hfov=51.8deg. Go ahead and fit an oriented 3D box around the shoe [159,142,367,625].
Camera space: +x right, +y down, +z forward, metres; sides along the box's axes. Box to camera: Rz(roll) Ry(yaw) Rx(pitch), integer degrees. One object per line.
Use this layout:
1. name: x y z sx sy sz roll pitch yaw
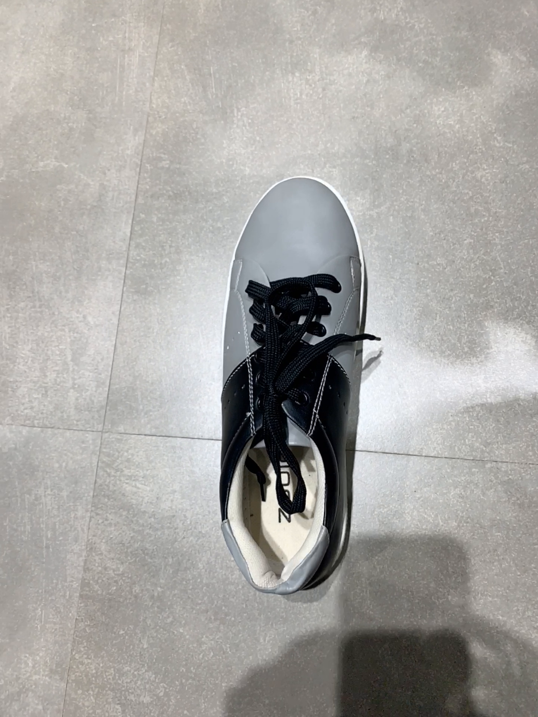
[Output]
1. shoe: 0.008 0.010 0.349 0.101 0.093 0.263 1 77 9
